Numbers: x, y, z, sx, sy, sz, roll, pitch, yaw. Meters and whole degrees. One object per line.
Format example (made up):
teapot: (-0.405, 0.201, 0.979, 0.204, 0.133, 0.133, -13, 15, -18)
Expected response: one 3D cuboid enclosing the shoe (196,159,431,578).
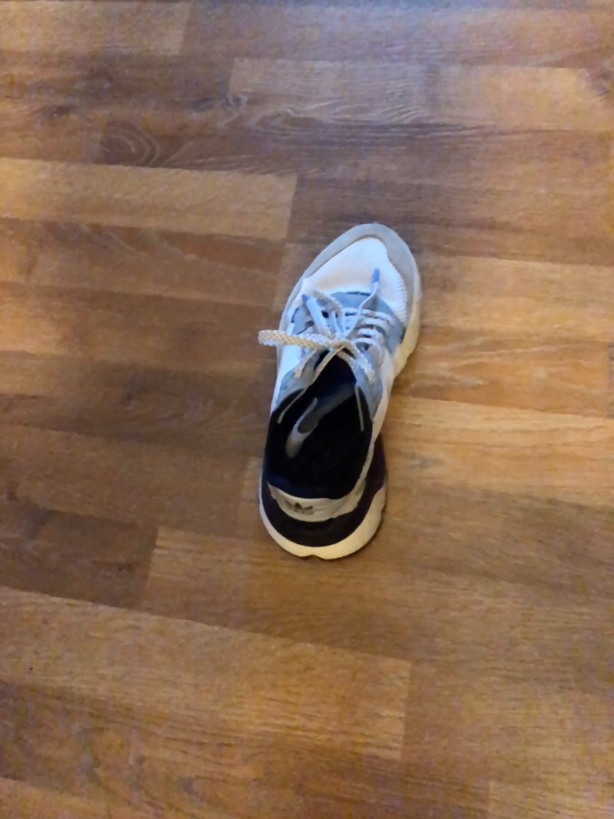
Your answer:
shoe: (0.016, -0.028, 0.490, 0.113, 0.110, 0.271, 6, 73, 10)
